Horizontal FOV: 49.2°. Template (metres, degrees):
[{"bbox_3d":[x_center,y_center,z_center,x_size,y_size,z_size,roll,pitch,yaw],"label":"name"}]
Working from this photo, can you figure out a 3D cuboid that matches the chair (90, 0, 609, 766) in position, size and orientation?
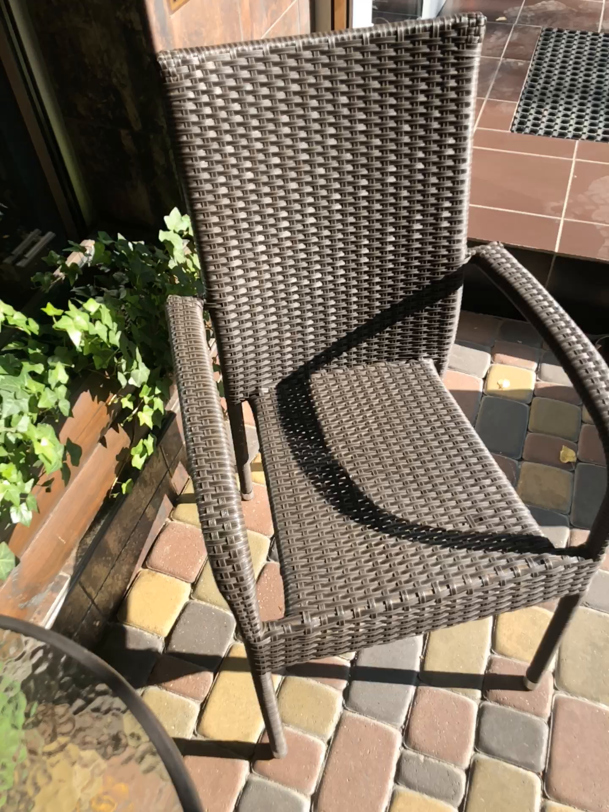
[{"bbox_3d":[0.084,0.027,0.935,0.520,0.847,0.582,-11,50,-7],"label":"chair"}]
